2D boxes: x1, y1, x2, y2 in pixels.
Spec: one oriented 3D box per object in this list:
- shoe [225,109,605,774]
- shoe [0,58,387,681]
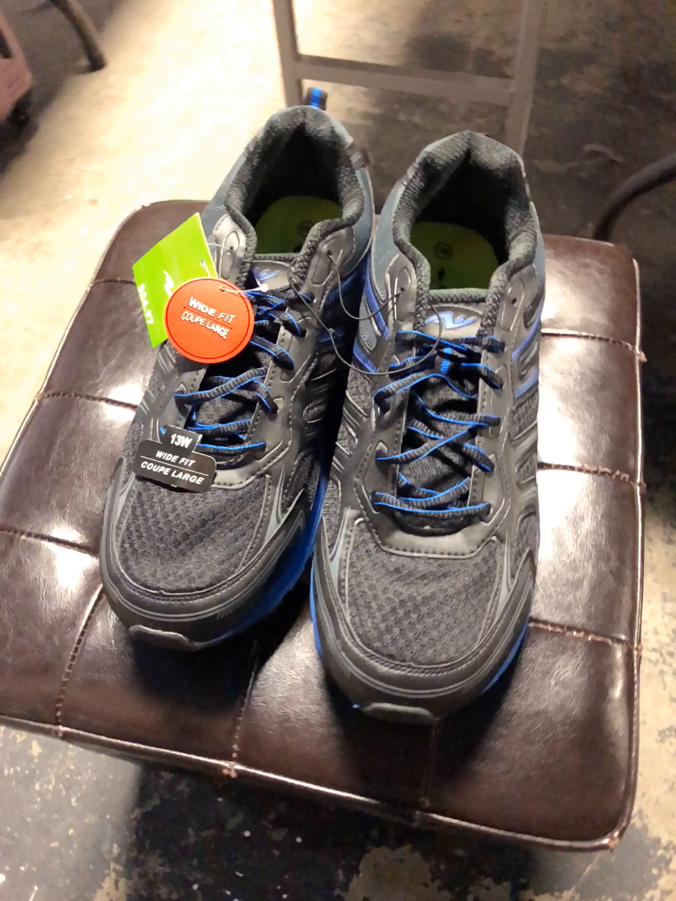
[{"bbox_3d":[0.054,-0.022,0.372,0.130,0.099,0.312,7,62,8],"label":"shoe"},{"bbox_3d":[-0.065,-0.051,0.378,0.120,0.119,0.281,11,62,10],"label":"shoe"}]
